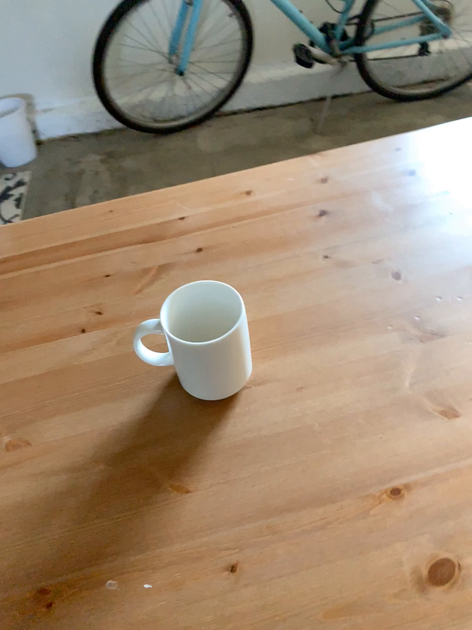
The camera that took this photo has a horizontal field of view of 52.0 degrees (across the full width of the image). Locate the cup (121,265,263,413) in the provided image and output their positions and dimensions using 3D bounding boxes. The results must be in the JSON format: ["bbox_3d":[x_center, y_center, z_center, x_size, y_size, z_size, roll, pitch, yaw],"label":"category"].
[{"bbox_3d":[-0.046,0.027,0.524,0.130,0.100,0.100,-10,51,0],"label":"cup"}]
